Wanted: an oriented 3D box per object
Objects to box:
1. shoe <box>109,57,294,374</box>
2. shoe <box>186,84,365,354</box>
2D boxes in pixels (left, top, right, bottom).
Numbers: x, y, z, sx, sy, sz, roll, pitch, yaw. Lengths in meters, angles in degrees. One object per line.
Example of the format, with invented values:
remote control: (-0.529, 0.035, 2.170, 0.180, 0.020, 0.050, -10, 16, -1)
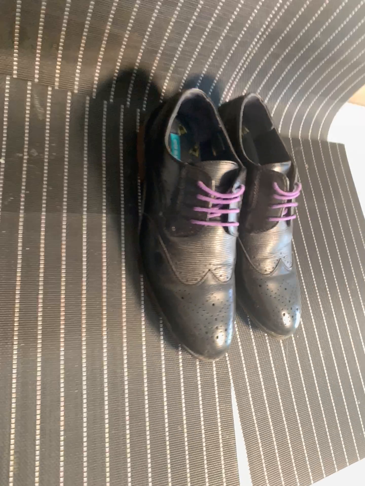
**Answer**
shoe: (0.010, -0.028, 0.412, 0.121, 0.100, 0.300, -3, 77, -28)
shoe: (0.103, -0.027, 0.439, 0.110, 0.090, 0.280, -8, 79, -29)
